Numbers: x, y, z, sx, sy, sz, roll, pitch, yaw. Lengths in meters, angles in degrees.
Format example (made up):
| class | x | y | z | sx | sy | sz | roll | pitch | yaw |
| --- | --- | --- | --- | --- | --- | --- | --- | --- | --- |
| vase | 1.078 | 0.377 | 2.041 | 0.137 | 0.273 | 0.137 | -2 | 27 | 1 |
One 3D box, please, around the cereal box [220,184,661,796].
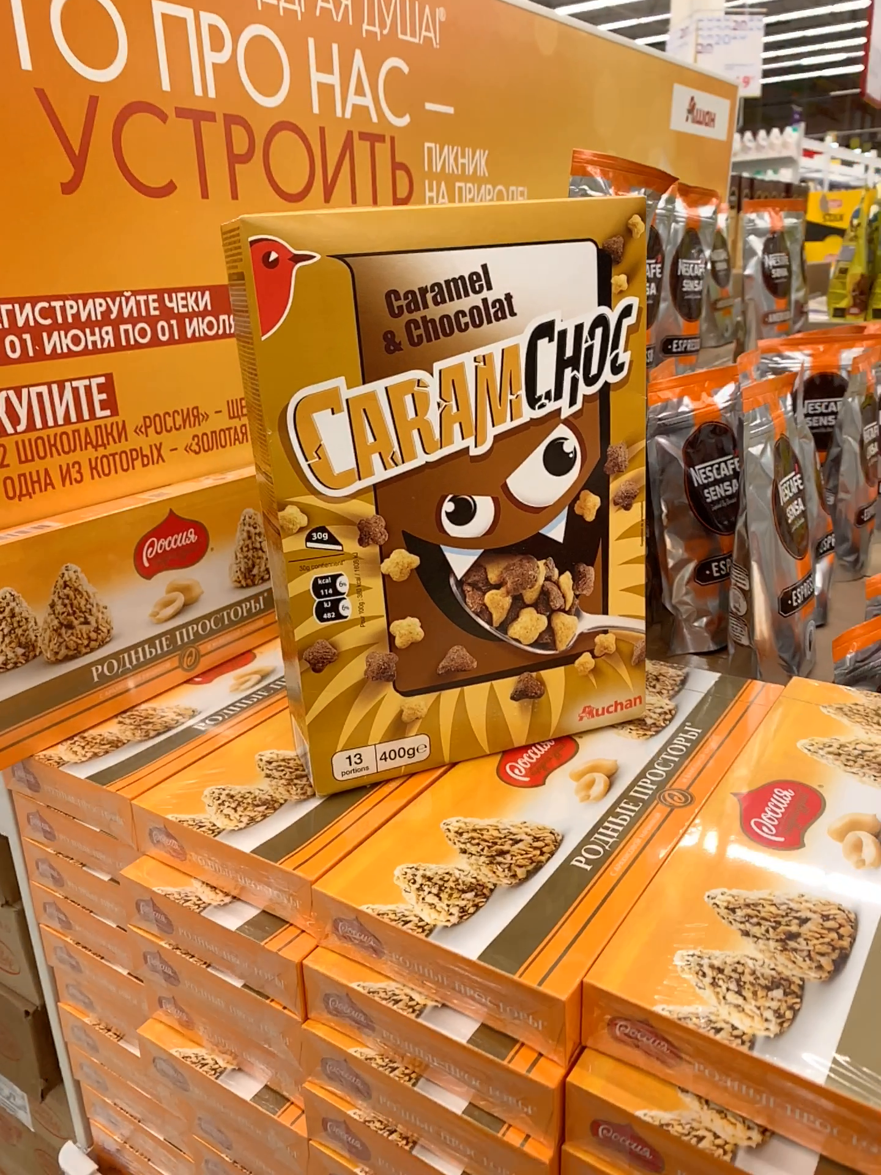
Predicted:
| class | x | y | z | sx | sy | sz | roll | pitch | yaw |
| --- | --- | --- | --- | --- | --- | --- | --- | --- | --- |
| cereal box | 0.010 | -0.052 | 0.474 | 0.200 | 0.279 | 0.060 | -10 | 20 | -18 |
